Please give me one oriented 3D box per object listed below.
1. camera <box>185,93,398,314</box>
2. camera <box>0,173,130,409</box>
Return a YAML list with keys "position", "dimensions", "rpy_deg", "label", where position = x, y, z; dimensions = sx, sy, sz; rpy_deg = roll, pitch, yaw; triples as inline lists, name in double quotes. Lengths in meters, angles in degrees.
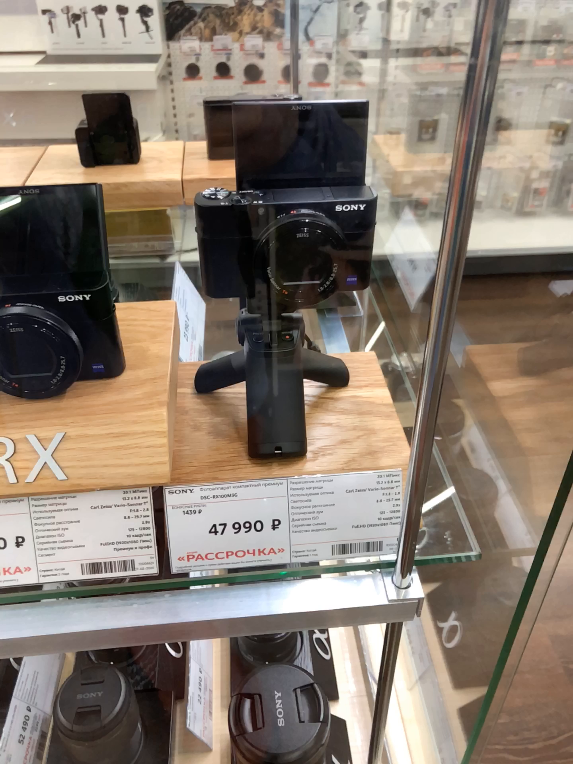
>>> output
- position: [0.001, -0.099, 0.355]
  dimensions: [0.102, 0.102, 0.057]
  rpy_deg: [-3, 37, -4]
  label: "camera"
- position: [-0.147, -0.049, 0.341]
  dimensions: [0.102, 0.102, 0.065]
  rpy_deg: [-3, 37, -4]
  label: "camera"
